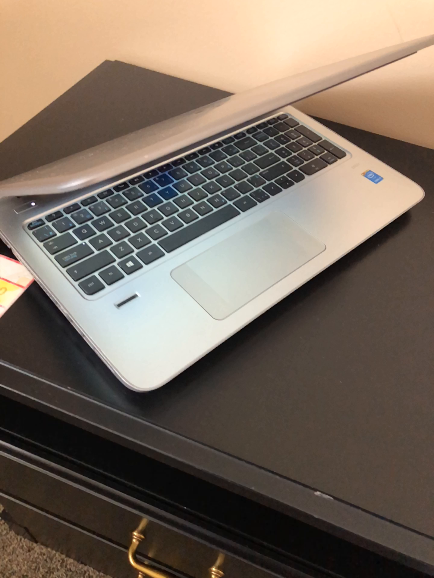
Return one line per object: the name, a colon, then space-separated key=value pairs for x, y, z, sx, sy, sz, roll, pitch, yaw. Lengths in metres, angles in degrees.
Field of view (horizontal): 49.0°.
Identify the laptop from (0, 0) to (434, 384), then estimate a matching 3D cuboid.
laptop: x=0.020 y=-0.132 z=0.406 sx=0.356 sy=0.153 sz=0.228 roll=-32 pitch=61 yaw=-29
